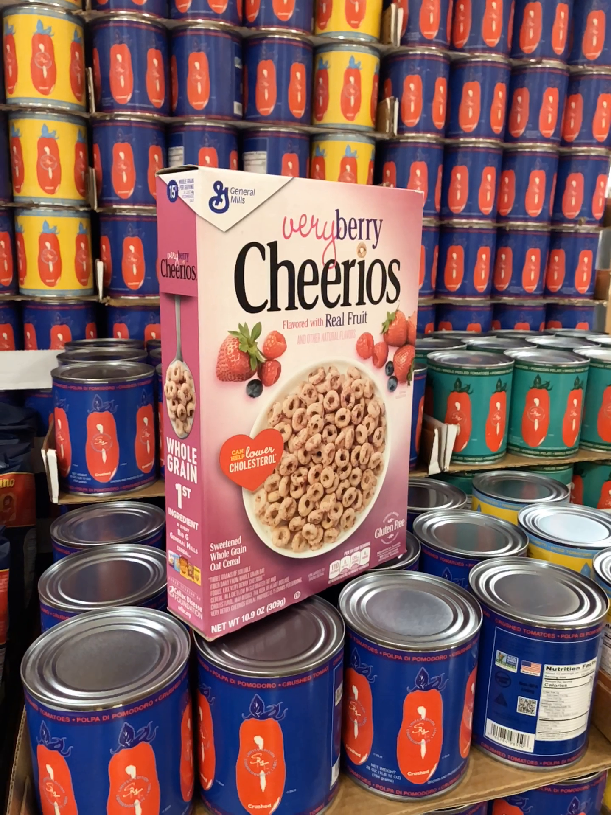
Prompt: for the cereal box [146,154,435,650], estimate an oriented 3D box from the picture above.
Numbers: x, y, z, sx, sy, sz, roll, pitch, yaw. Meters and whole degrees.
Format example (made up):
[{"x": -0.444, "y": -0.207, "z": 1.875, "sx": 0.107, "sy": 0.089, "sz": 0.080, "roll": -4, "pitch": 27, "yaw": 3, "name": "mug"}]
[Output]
[{"x": -0.004, "y": -0.012, "z": 0.471, "sx": 0.201, "sy": 0.289, "sz": 0.060, "roll": -11, "pitch": 18, "yaw": -42, "name": "cereal box"}]
